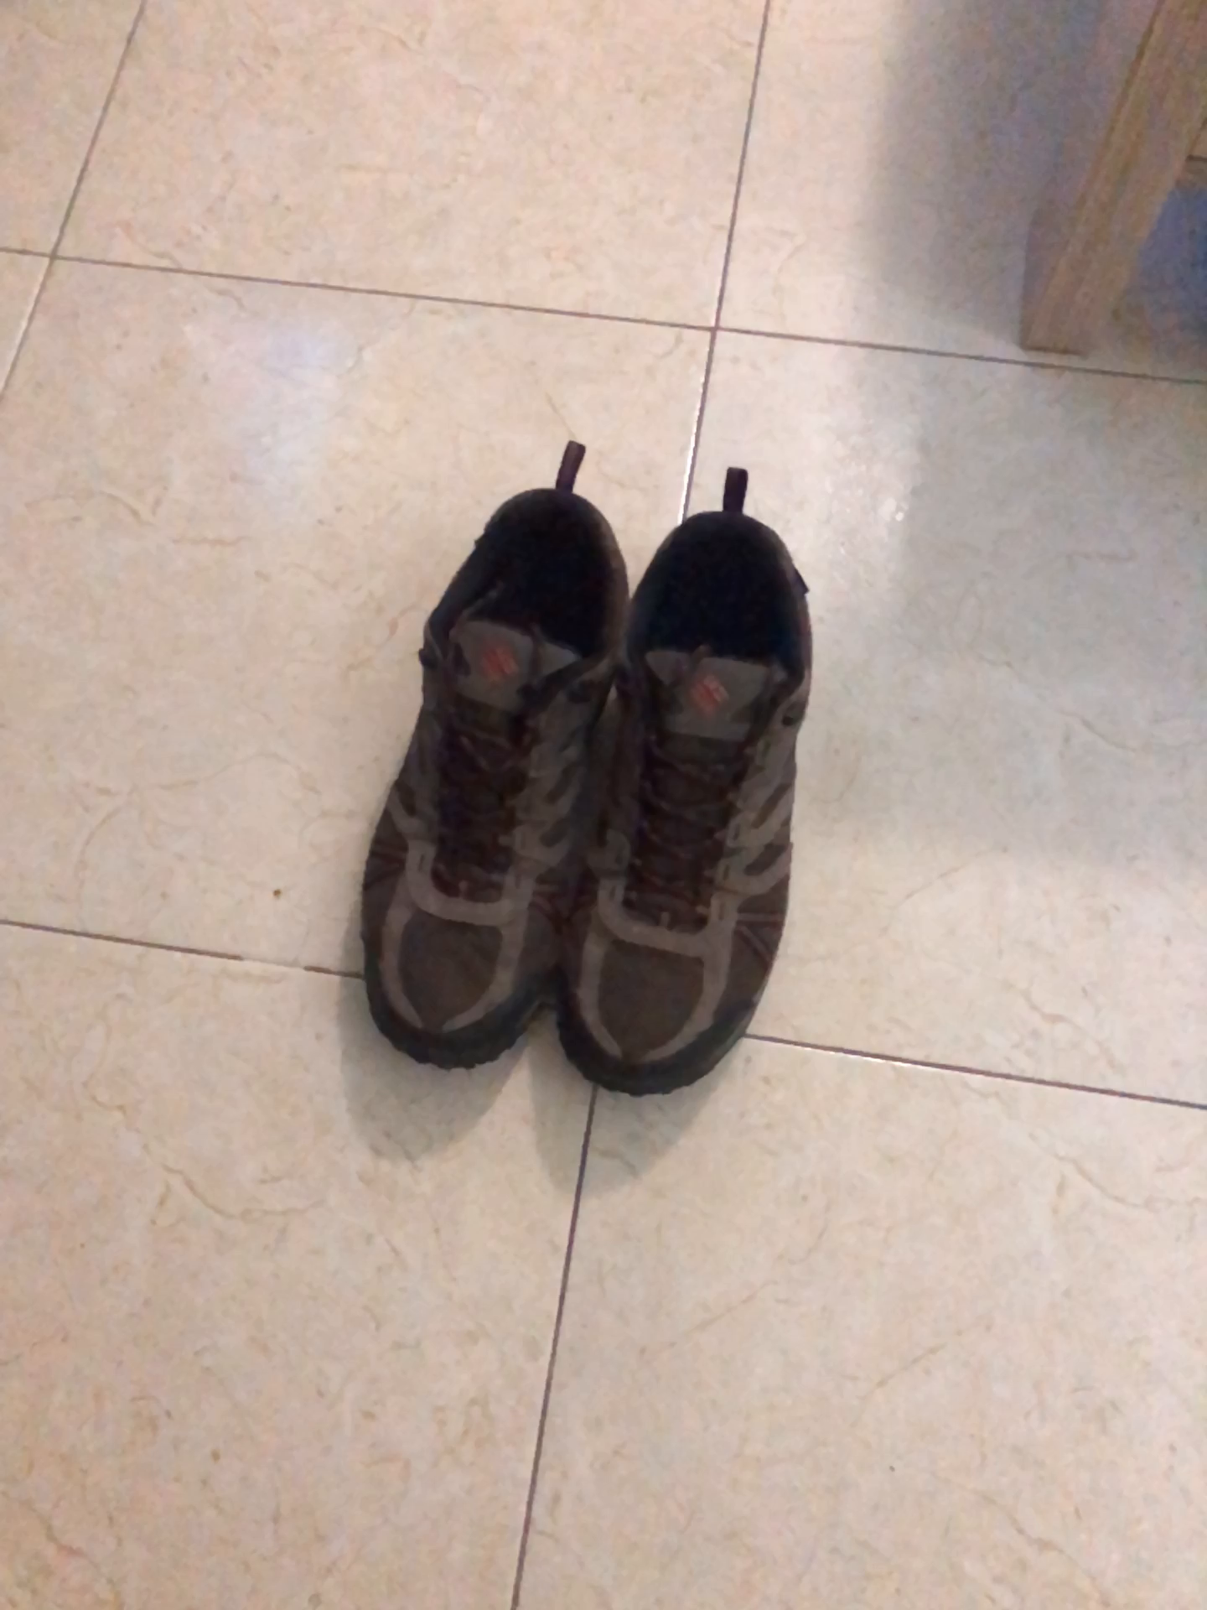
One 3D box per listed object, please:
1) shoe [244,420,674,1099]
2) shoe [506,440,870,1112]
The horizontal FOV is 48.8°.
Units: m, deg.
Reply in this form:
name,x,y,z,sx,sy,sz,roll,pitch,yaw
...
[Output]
name,x,y,z,sx,sy,sz,roll,pitch,yaw
shoe,-0.060,-0.025,0.682,0.130,0.110,0.310,11,71,6
shoe,0.048,-0.015,0.690,0.120,0.120,0.310,10,71,5
